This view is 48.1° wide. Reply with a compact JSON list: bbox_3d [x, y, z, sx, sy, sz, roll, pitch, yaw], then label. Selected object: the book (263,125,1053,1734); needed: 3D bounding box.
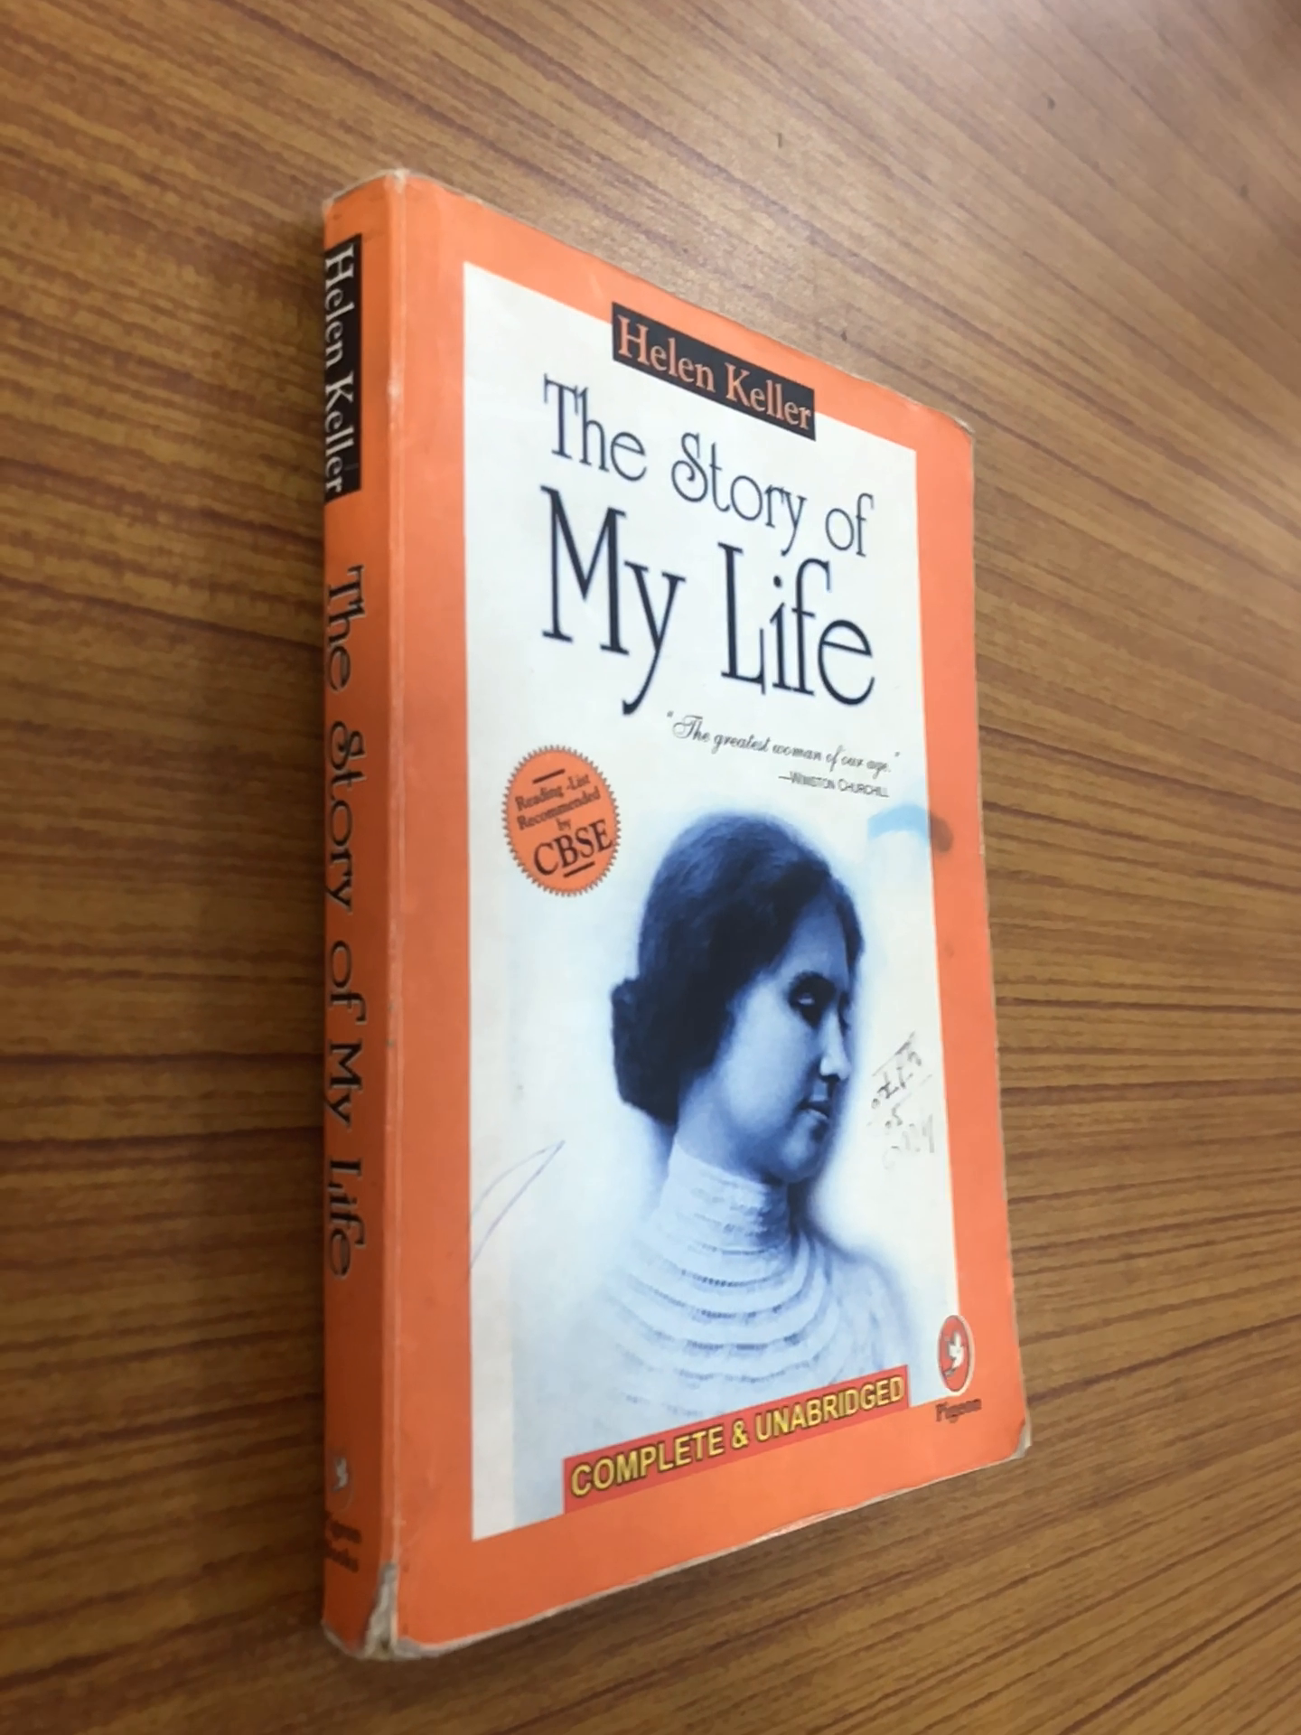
[{"bbox_3d":[0.008,0.007,0.206,0.121,0.030,0.170,5,82,-44],"label":"book"}]
